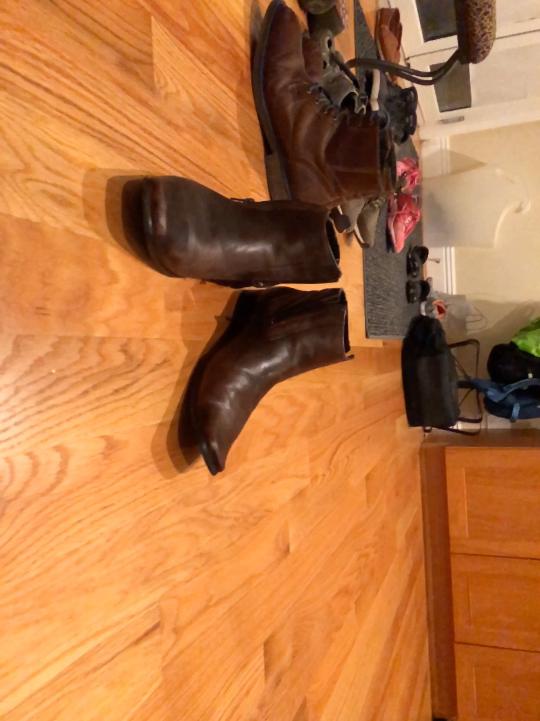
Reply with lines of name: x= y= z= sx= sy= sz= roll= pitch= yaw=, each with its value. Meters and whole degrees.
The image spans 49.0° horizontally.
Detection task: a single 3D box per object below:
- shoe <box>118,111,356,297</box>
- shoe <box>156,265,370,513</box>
shoe: x=-0.012 y=-0.141 z=0.629 sx=0.291 sy=0.142 sz=0.109 roll=-1 pitch=89 yaw=-70
shoe: x=0.013 y=0.017 z=0.690 sx=0.301 sy=0.152 sz=0.109 roll=-67 pitch=148 yaw=-49
